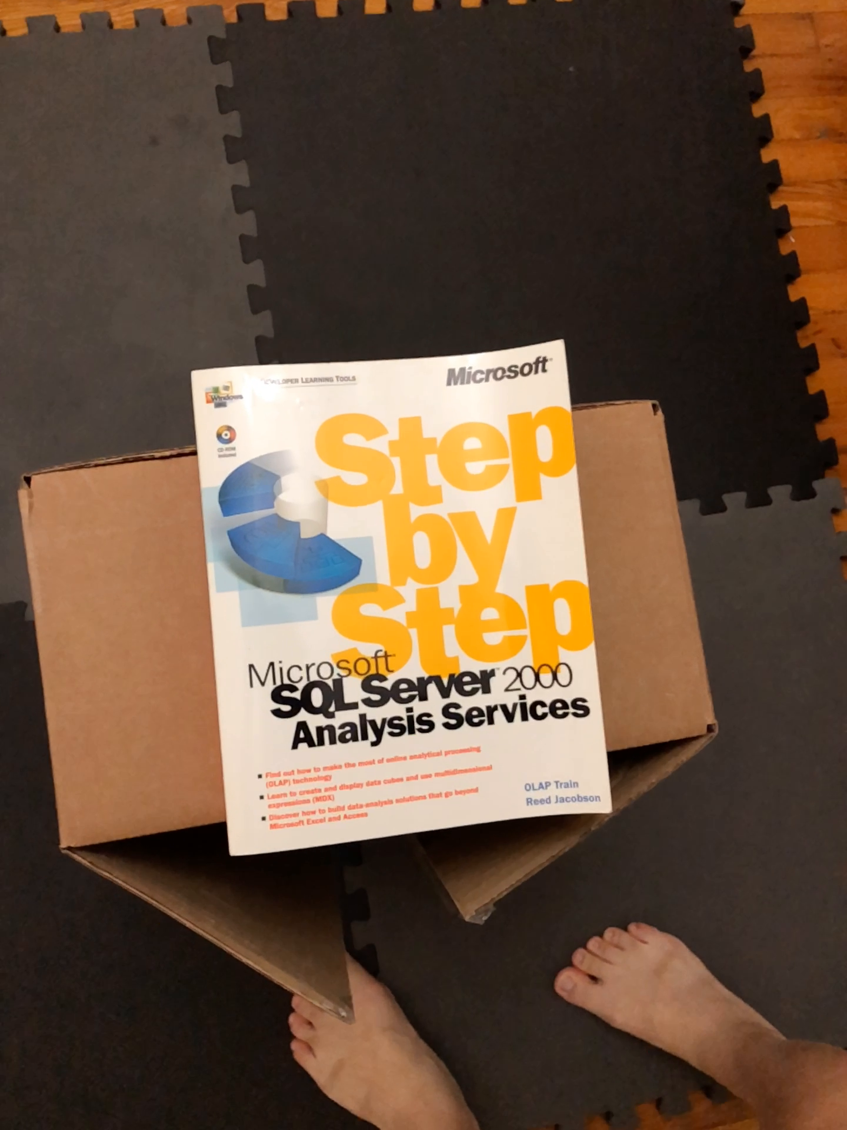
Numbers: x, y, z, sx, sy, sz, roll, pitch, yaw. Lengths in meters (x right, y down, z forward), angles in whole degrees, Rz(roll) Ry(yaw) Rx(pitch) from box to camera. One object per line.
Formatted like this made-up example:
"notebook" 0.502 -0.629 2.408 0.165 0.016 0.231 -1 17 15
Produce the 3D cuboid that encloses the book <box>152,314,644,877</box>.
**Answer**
"book" -0.013 0.009 0.478 0.200 0.050 0.240 -11 88 -12
